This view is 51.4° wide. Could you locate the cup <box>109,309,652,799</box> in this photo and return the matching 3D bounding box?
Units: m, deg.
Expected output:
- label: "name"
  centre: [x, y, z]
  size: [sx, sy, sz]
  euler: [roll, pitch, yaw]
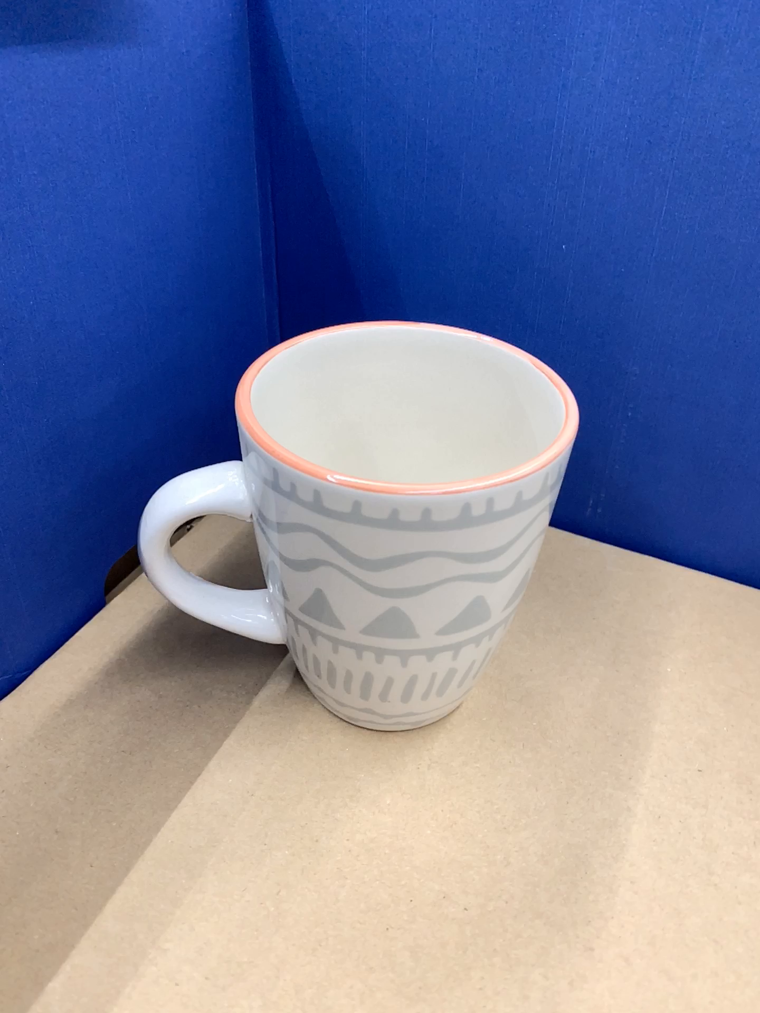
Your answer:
- label: "cup"
  centre: [-0.009, 0.005, 0.230]
  size: [0.118, 0.082, 0.097]
  euler: [-9, 36, -15]
